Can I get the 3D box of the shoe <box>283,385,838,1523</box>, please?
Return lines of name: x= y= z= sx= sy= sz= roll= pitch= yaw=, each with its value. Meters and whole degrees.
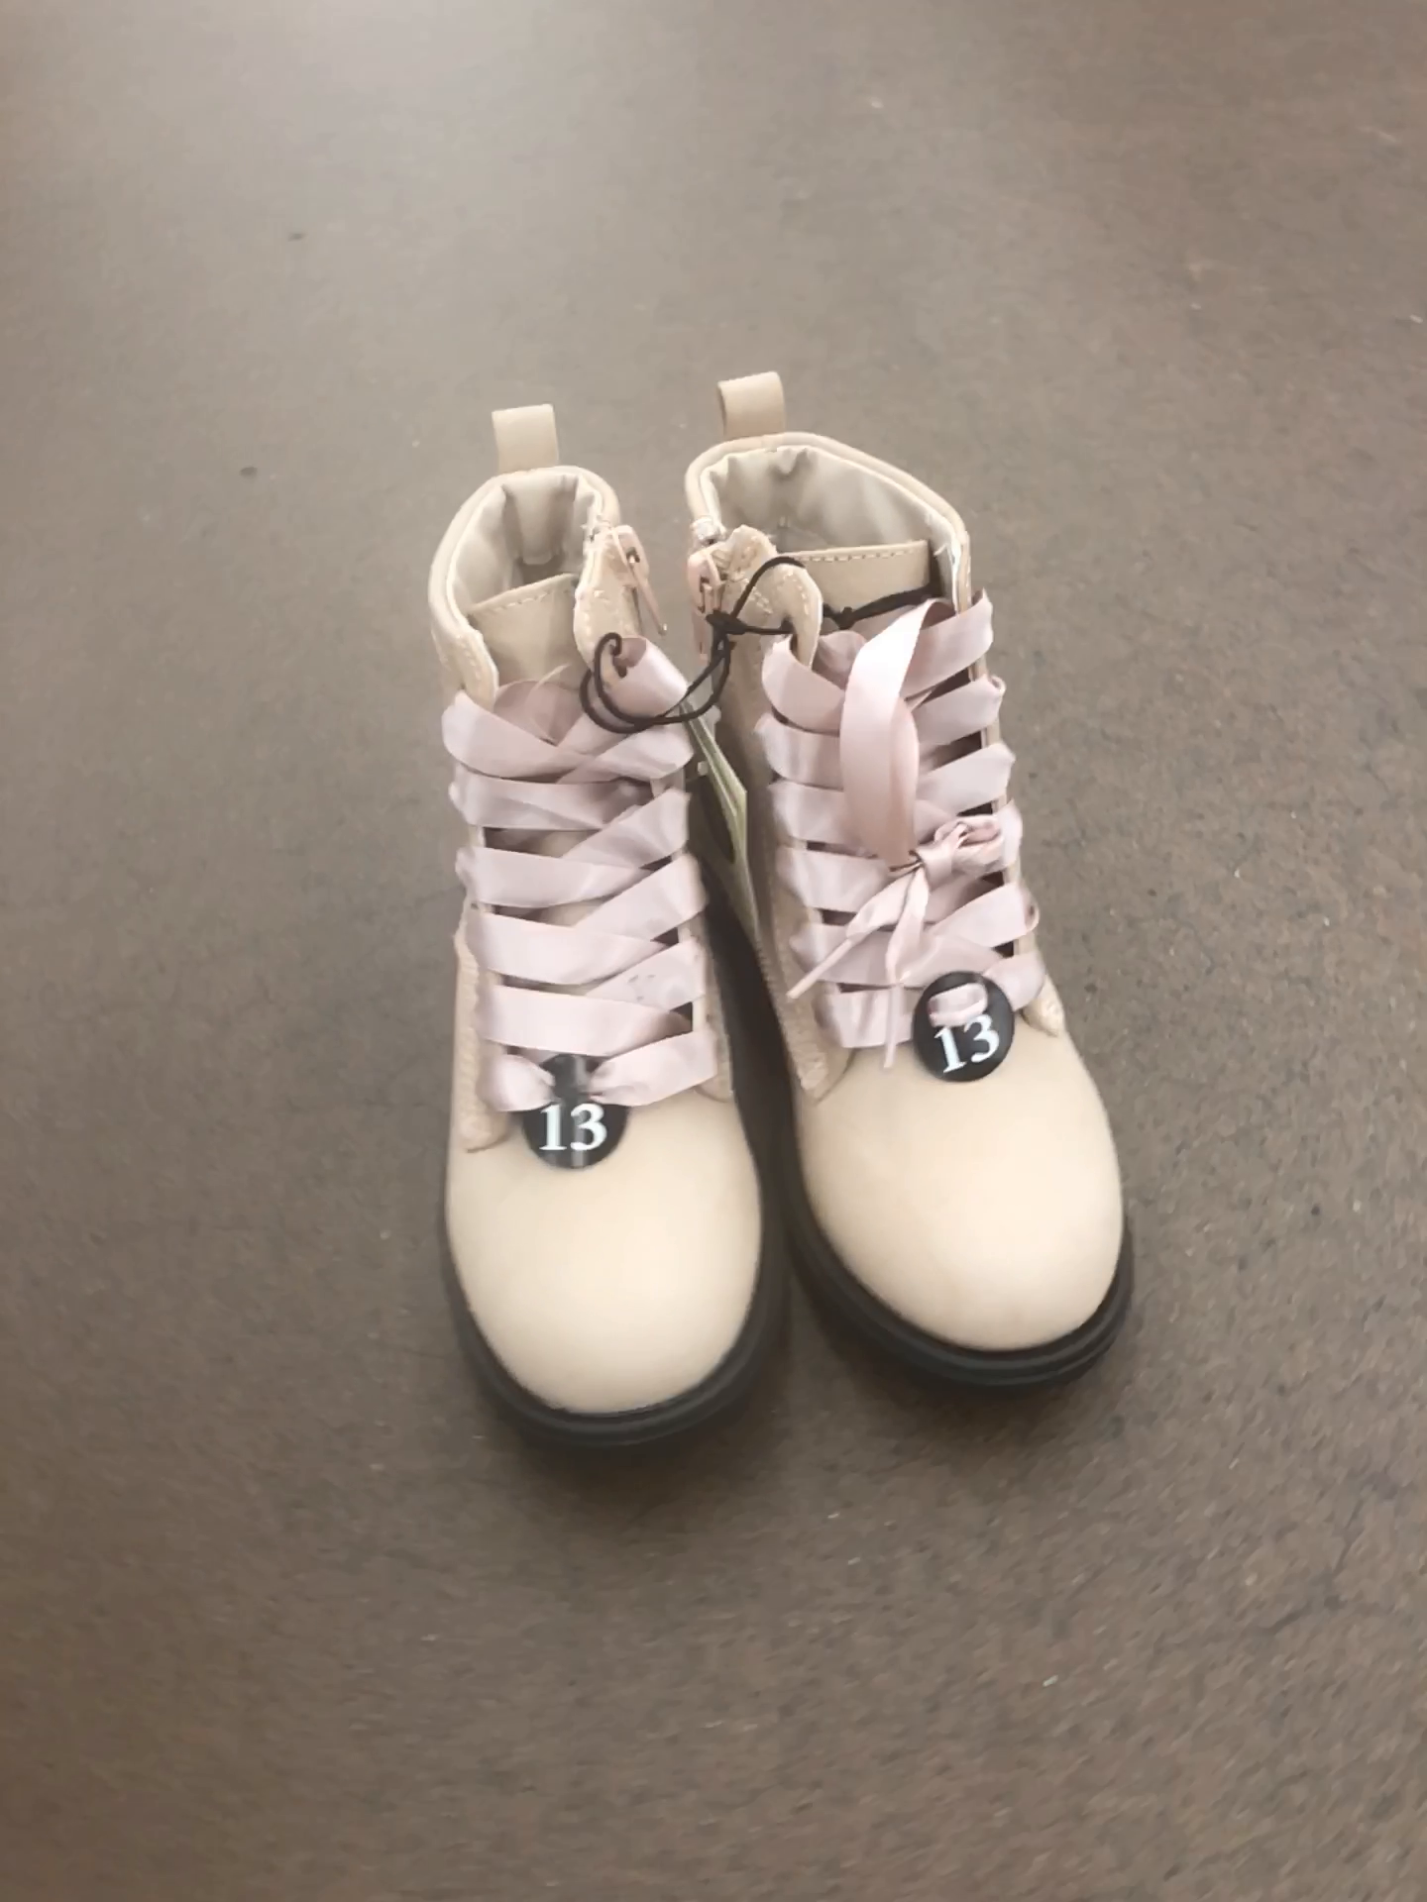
shoe: x=-0.035 y=-0.003 z=0.383 sx=0.090 sy=0.150 sz=0.221 roll=-7 pitch=52 yaw=-3

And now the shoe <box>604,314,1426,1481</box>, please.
shoe: x=0.049 y=-0.018 z=0.378 sx=0.090 sy=0.150 sz=0.221 roll=-14 pitch=53 yaw=-8
